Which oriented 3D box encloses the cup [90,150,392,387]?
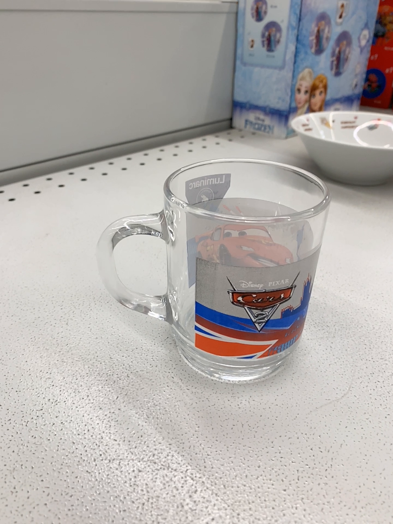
[{"bbox_3d":[0.013,-0.001,0.189,0.101,0.081,0.072,-1,32,-3],"label":"cup"}]
